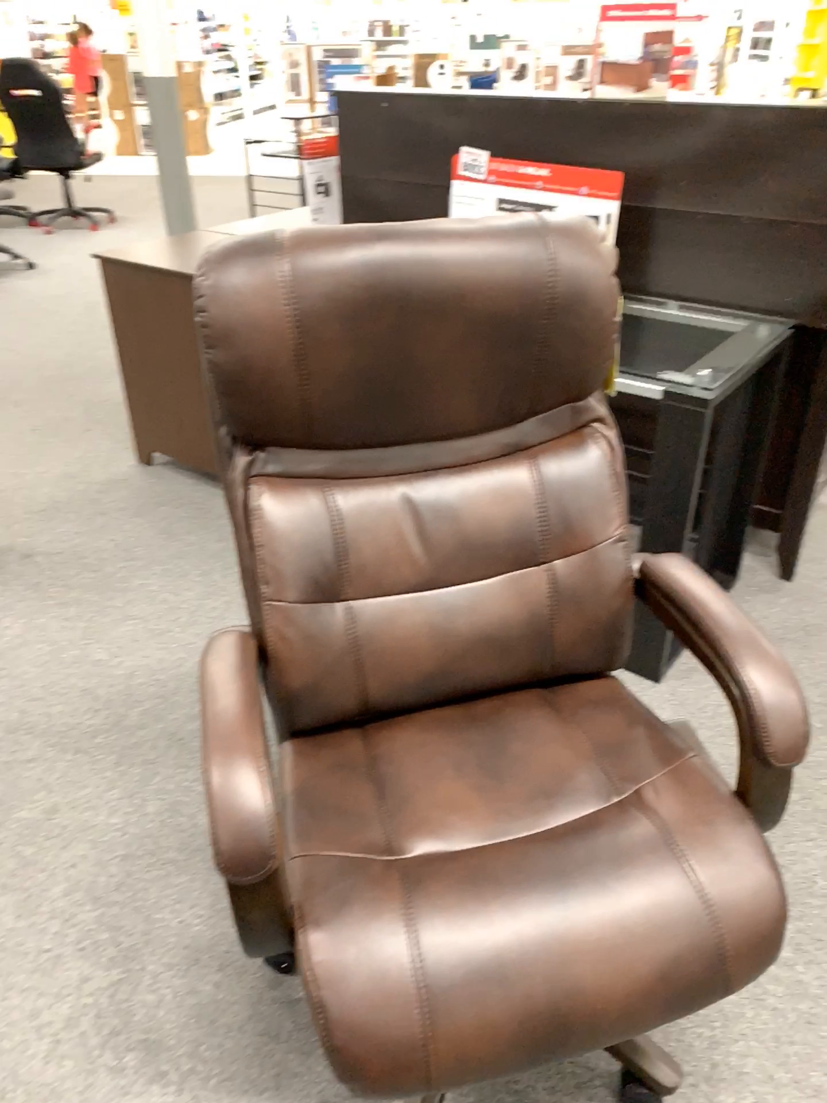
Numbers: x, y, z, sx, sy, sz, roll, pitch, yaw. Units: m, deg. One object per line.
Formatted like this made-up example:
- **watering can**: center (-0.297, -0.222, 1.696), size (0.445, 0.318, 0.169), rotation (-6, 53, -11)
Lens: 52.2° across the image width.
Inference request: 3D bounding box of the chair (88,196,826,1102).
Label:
- **chair**: center (0.074, 0.193, 1.109), size (0.710, 1.094, 0.704), rotation (-9, 32, -13)
